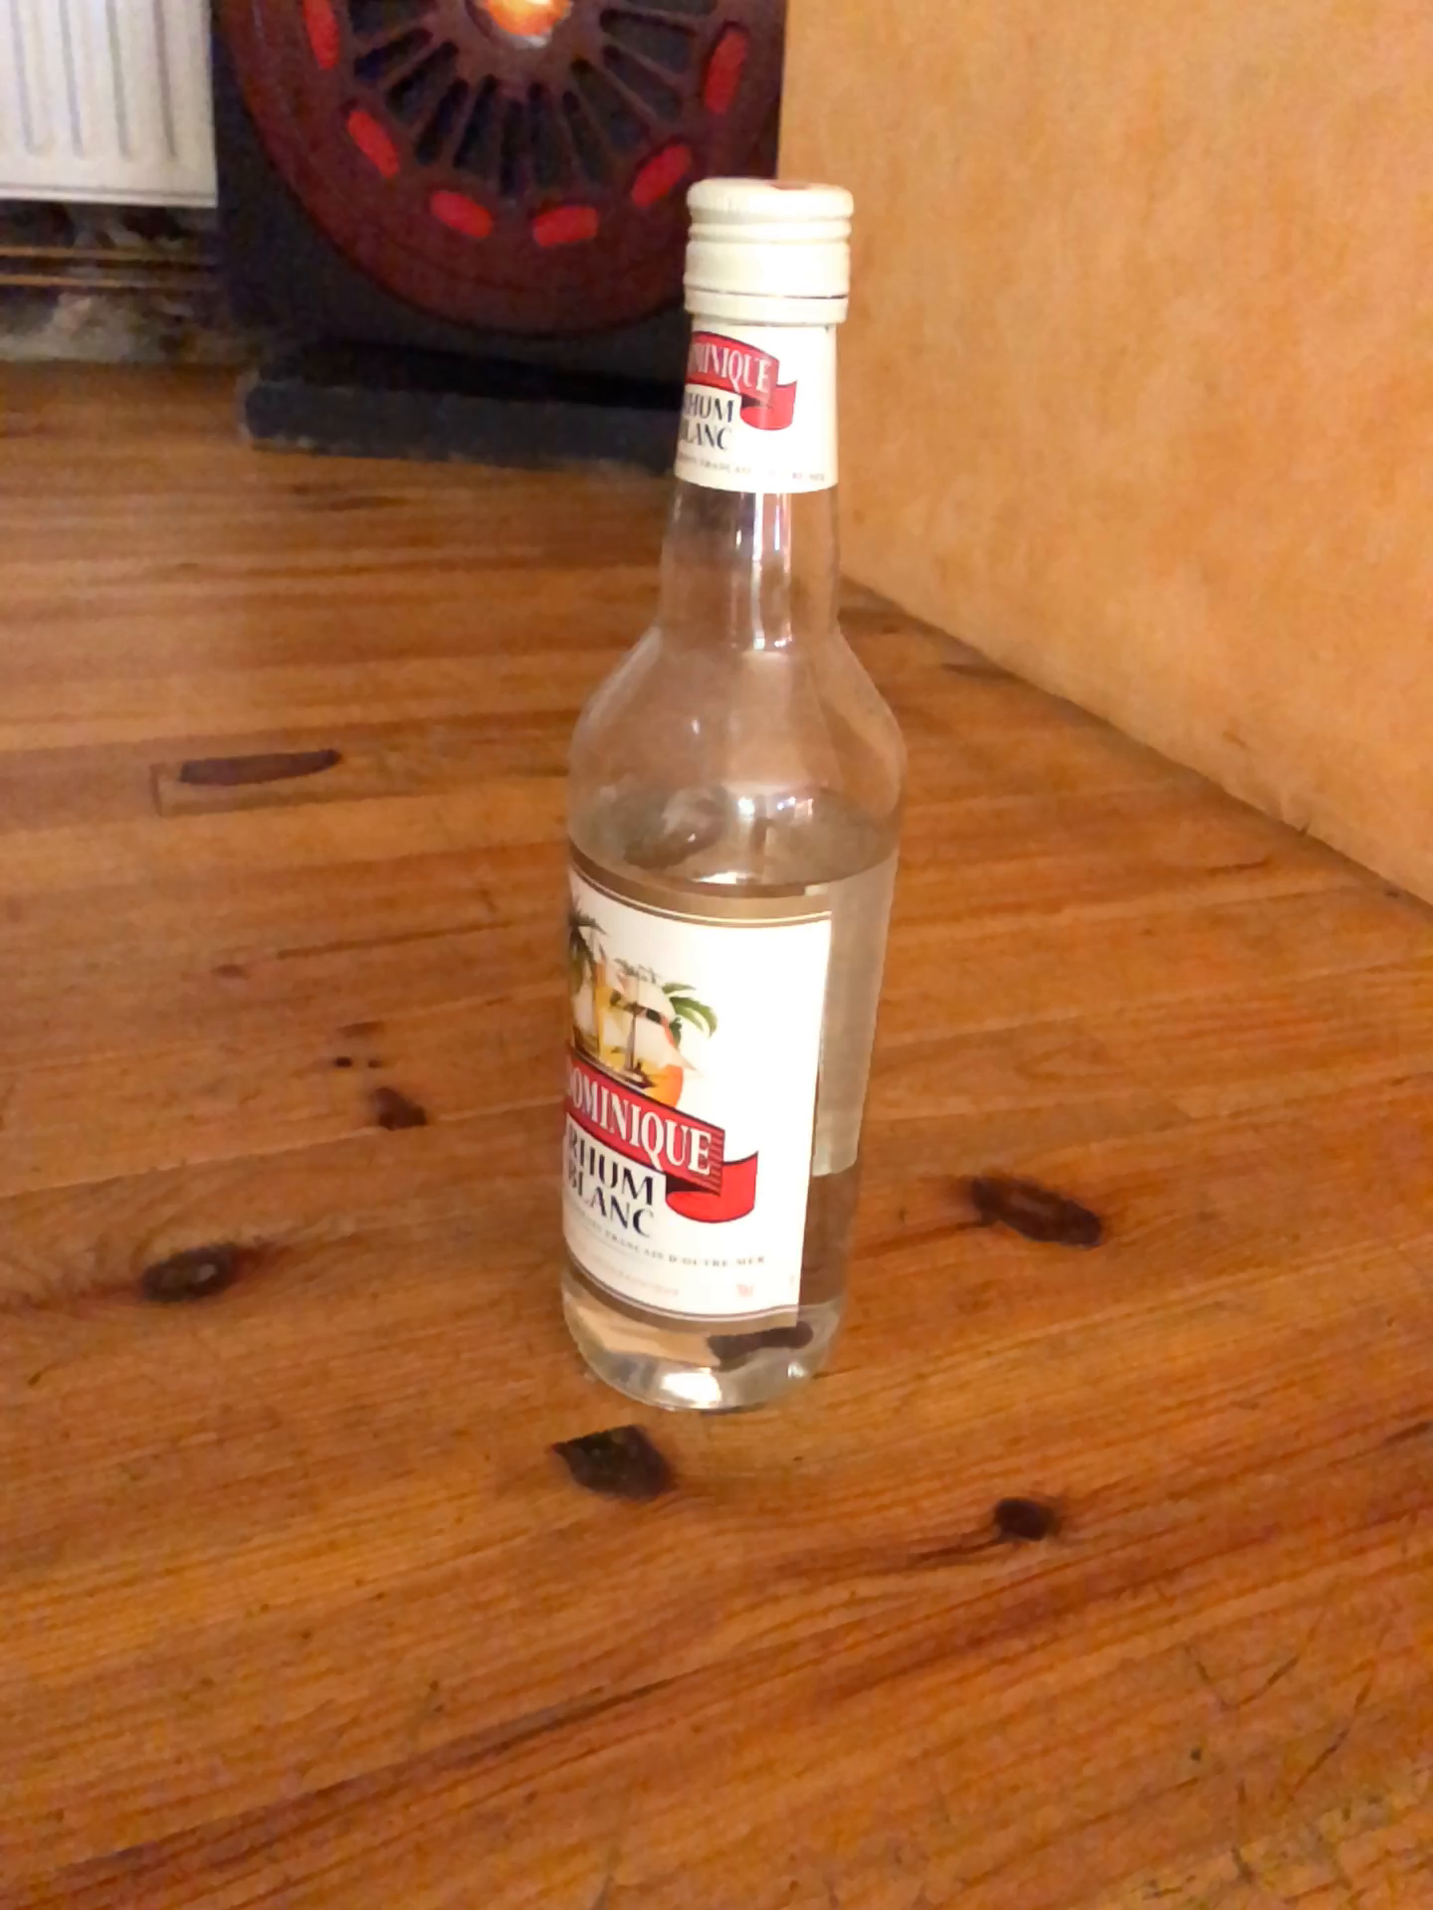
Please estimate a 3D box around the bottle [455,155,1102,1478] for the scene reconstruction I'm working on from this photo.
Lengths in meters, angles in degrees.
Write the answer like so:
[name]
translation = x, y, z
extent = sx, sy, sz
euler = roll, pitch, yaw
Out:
[bottle]
translation = 0.004, -0.027, 0.345
extent = 0.080, 0.259, 0.090
euler = -15, 32, -31
